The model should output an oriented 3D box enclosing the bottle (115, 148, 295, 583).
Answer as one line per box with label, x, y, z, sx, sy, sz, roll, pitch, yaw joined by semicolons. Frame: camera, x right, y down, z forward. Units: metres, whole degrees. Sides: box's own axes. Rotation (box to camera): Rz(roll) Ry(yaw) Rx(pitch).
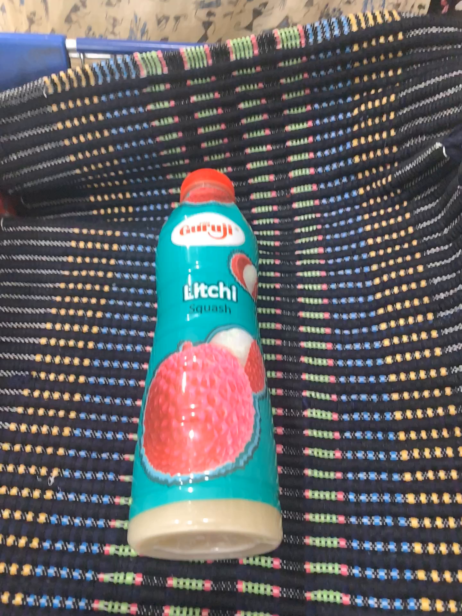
bottle;-0.017;0.009;0.308;0.070;0.080;0.281;0;49;-4
